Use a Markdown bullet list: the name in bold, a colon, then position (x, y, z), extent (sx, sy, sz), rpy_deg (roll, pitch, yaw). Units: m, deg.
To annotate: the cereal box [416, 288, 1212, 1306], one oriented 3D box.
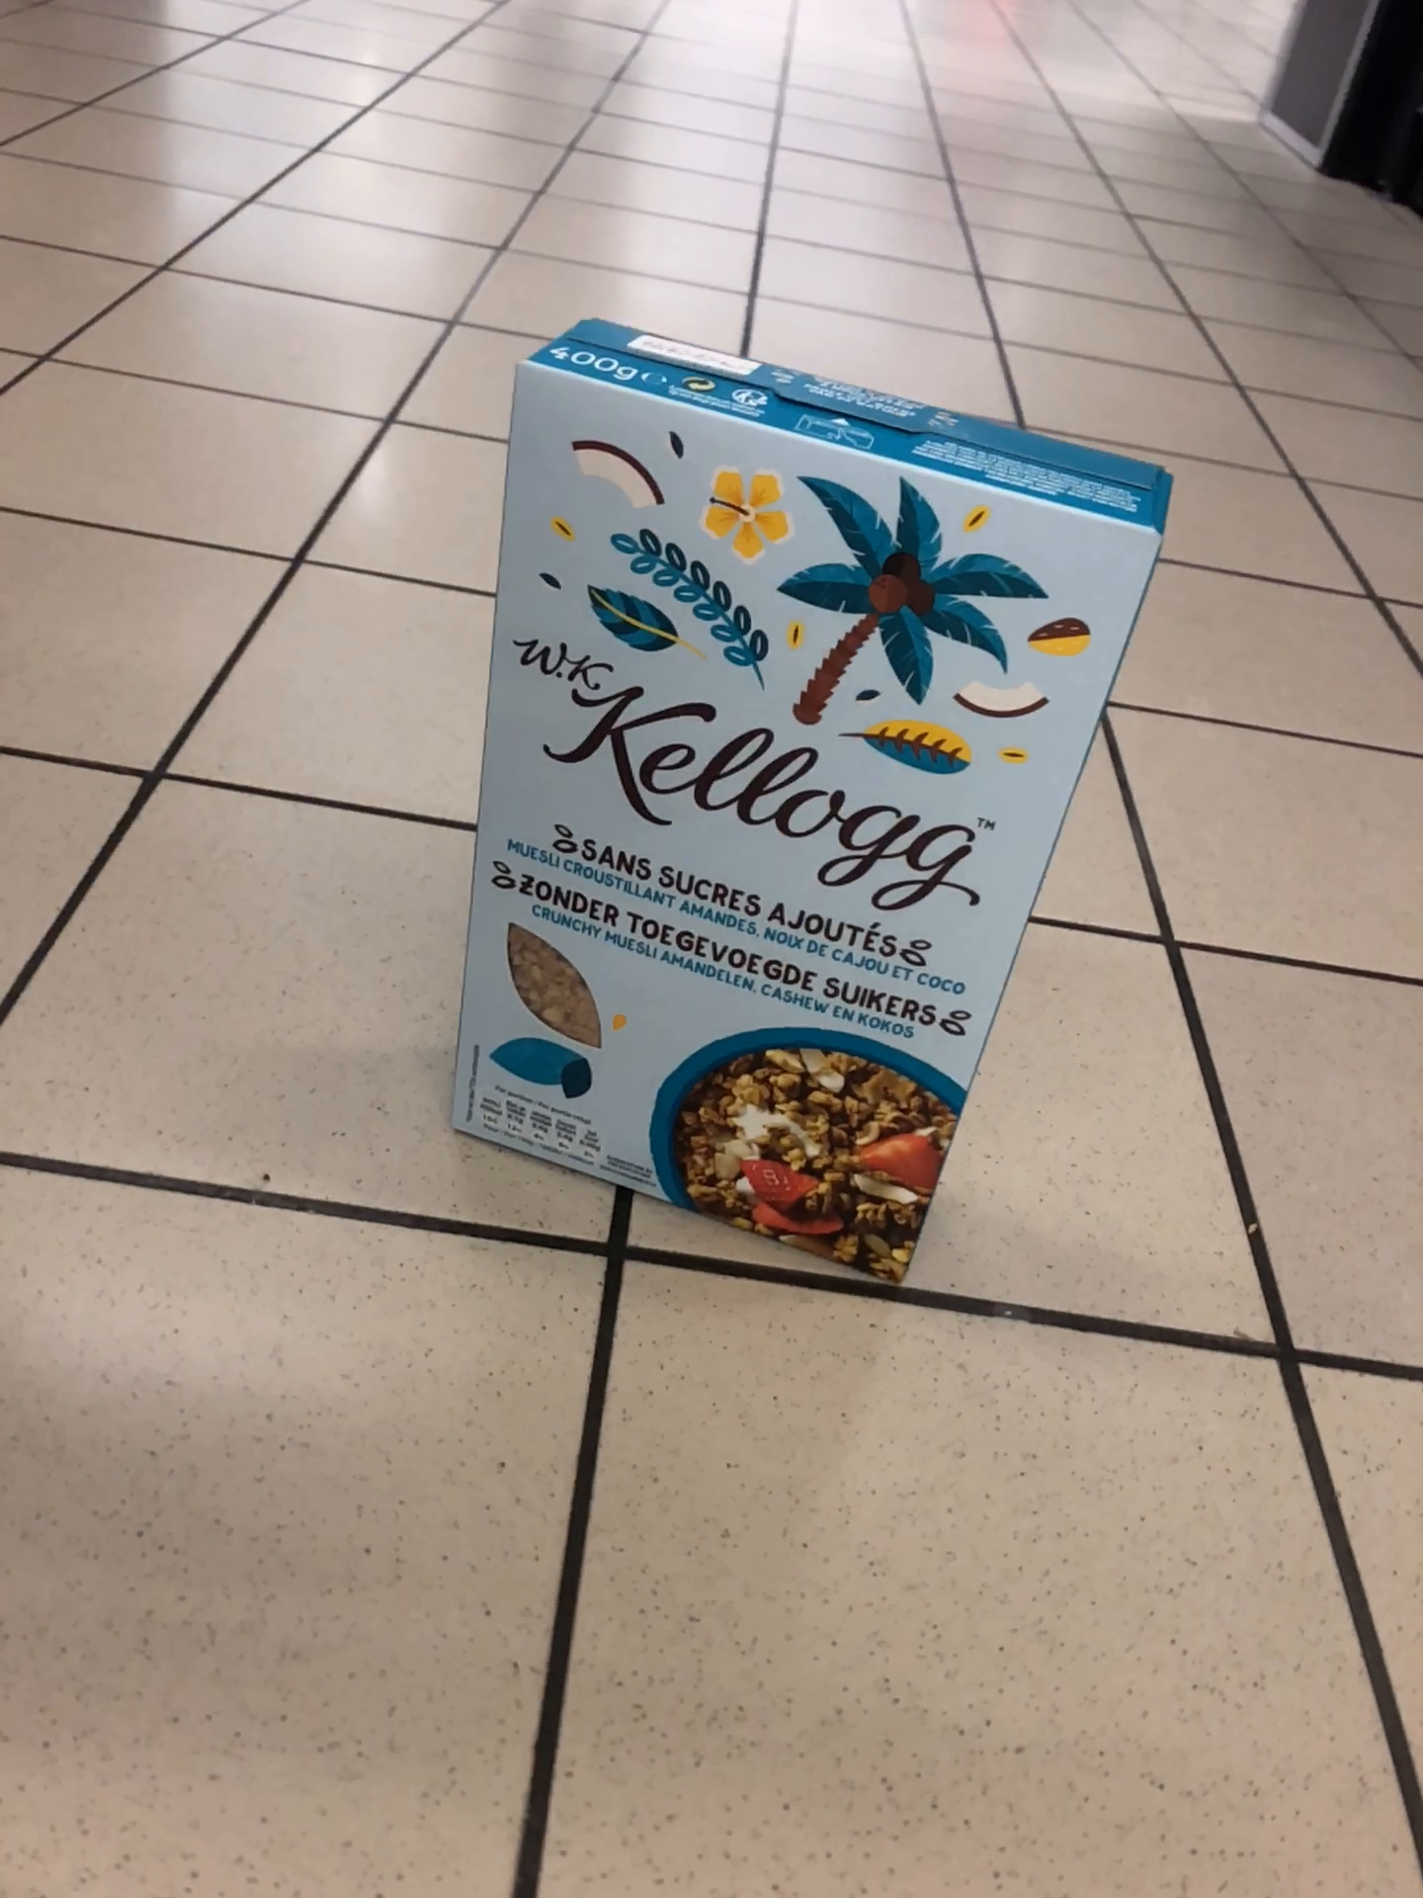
- **cereal box**: position (0.012, -0.028, 0.416), extent (0.160, 0.238, 0.050), rpy_deg (17, 37, 8)
